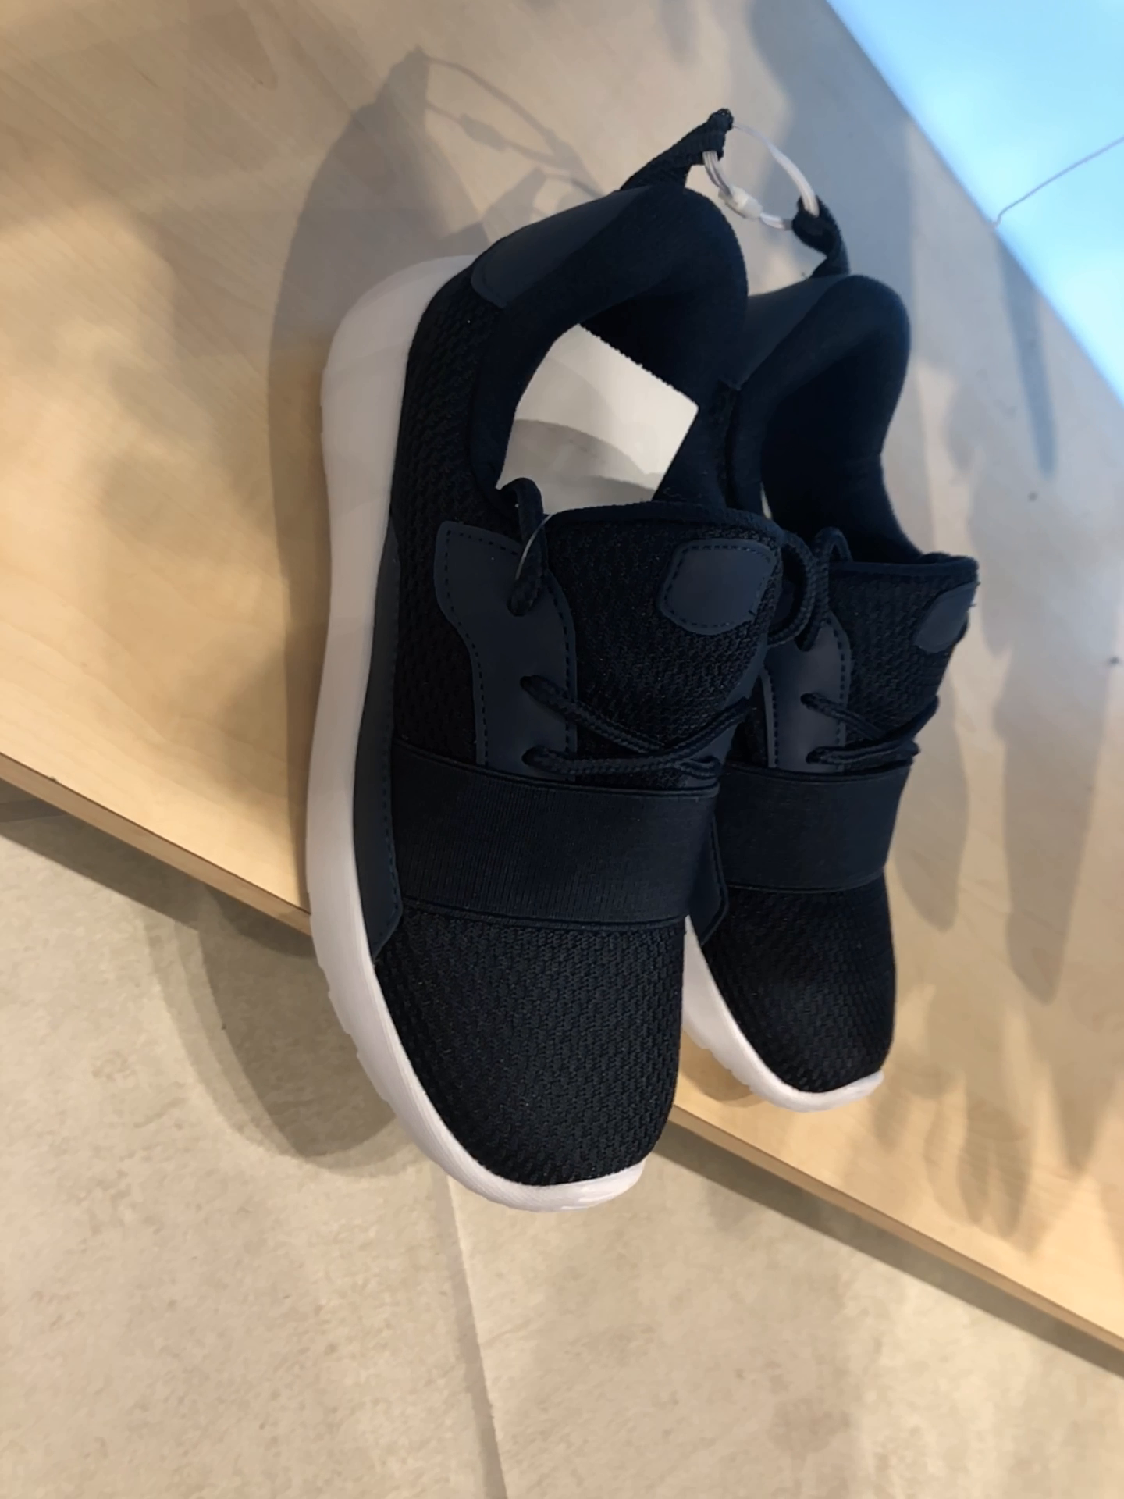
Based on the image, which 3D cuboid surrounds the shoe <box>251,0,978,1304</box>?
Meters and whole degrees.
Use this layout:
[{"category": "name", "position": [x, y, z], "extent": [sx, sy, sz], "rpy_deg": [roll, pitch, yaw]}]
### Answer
[{"category": "shoe", "position": [0.004, -0.022, 0.275], "extent": [0.091, 0.099, 0.240], "rpy_deg": [4, 75, -43]}]

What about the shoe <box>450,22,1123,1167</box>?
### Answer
[{"category": "shoe", "position": [0.062, -0.030, 0.323], "extent": [0.101, 0.099, 0.240], "rpy_deg": [-5, 82, -44]}]
